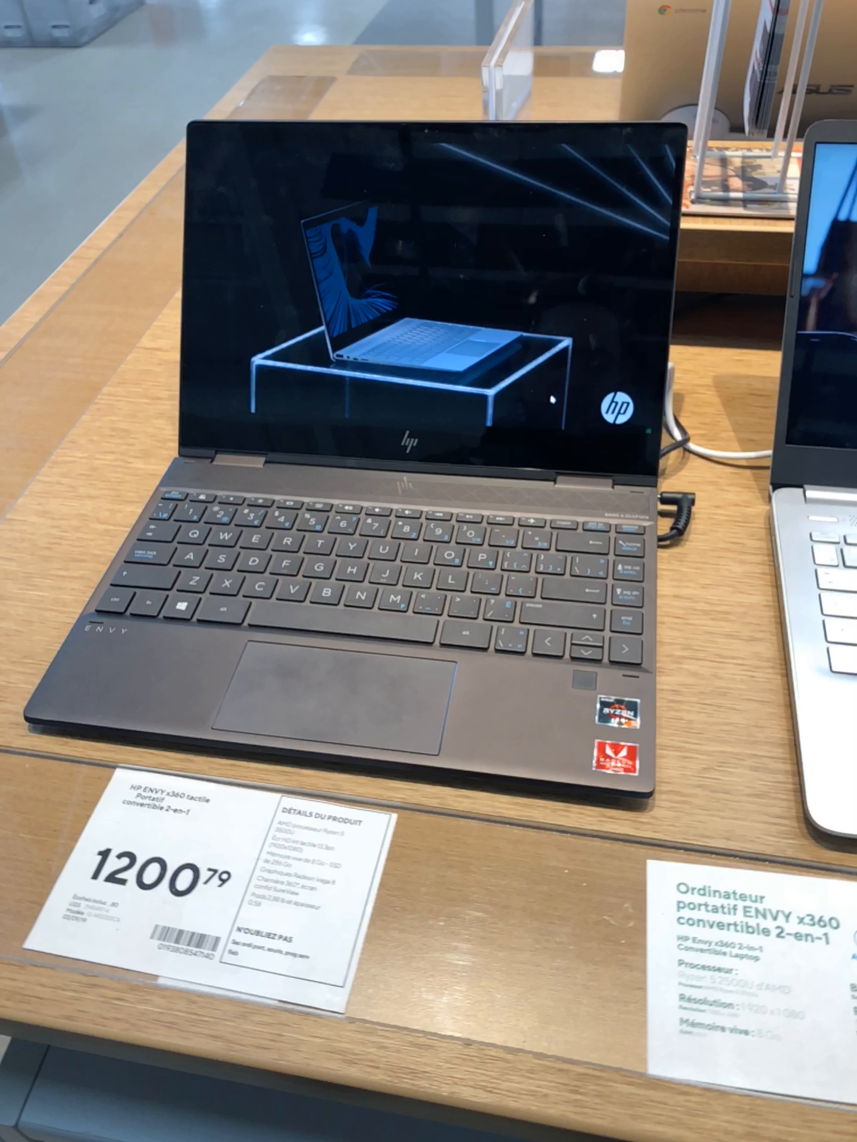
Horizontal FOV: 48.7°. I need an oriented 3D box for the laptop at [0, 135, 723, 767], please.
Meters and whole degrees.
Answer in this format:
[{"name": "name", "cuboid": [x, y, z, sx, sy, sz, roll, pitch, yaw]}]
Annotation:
[{"name": "laptop", "cuboid": [-0.013, -0.090, 0.506, 0.293, 0.162, 0.319, 5, 44, 10]}]
